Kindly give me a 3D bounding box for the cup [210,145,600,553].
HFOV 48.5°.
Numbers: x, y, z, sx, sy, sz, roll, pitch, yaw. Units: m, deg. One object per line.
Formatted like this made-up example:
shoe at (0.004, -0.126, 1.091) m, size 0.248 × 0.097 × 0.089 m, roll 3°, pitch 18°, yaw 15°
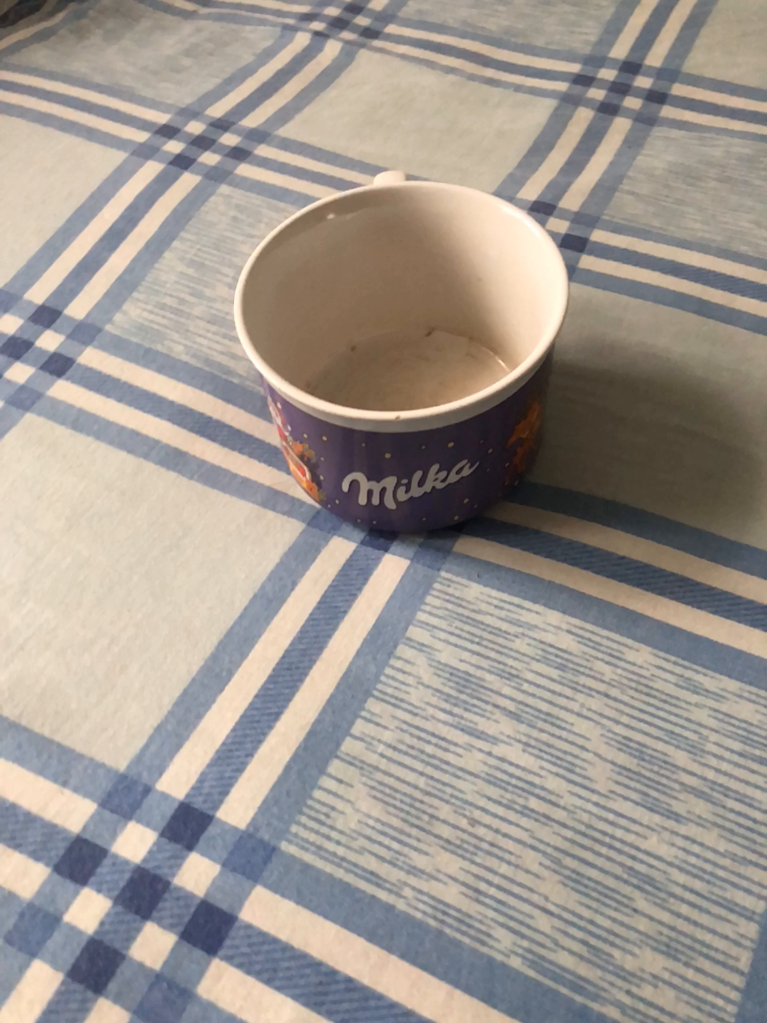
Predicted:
cup at (0.005, -0.059, 0.292) m, size 0.104 × 0.063 × 0.131 m, roll -2°, pitch 53°, yaw 0°
